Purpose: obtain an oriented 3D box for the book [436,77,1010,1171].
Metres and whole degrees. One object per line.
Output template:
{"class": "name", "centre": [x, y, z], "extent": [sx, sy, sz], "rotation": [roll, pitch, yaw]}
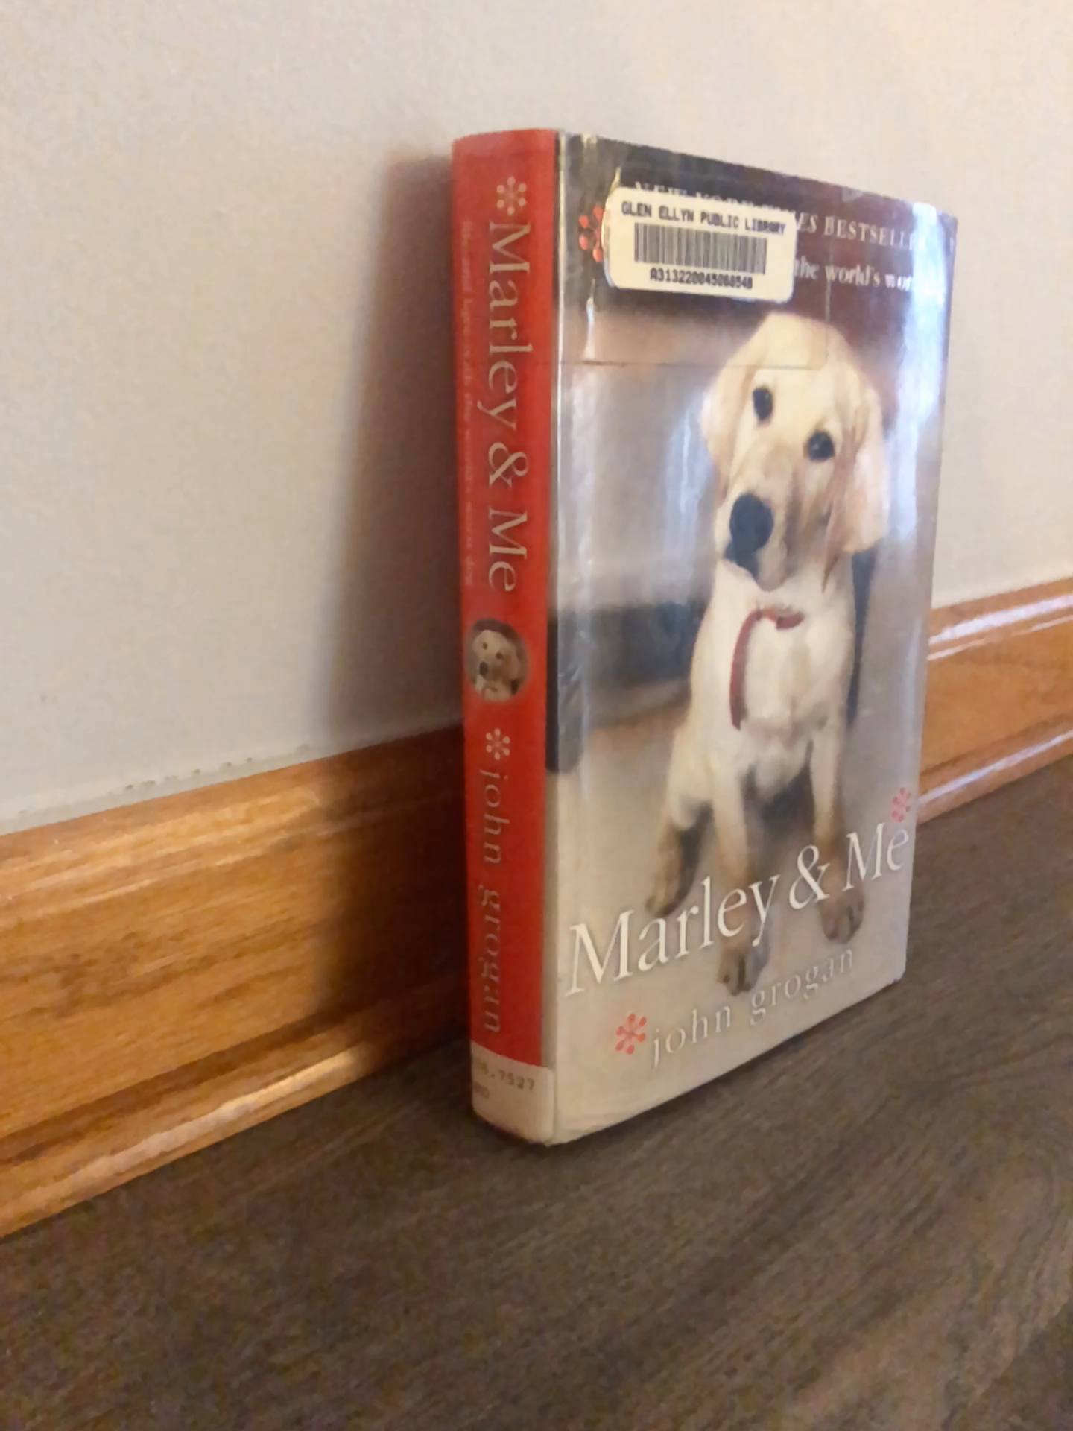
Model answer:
{"class": "book", "centre": [0.051, -0.023, 0.298], "extent": [0.151, 0.219, 0.040], "rotation": [-12, 19, -39]}
